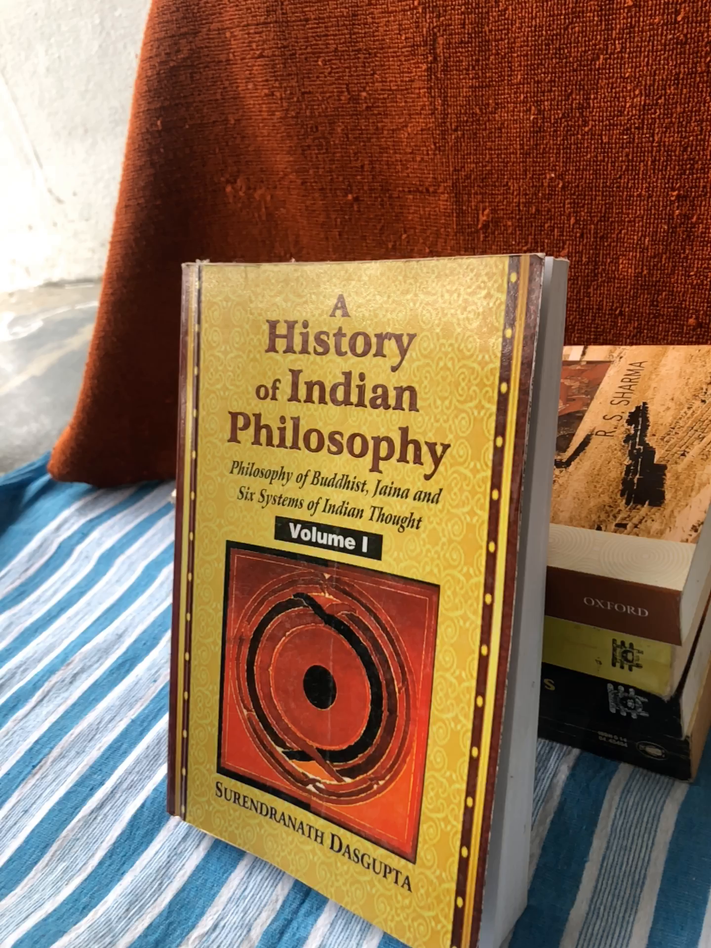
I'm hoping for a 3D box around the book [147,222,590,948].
[{"bbox_3d":[-0.005,0.033,0.277,0.141,0.216,0.048,8,7,36],"label":"book"}]
